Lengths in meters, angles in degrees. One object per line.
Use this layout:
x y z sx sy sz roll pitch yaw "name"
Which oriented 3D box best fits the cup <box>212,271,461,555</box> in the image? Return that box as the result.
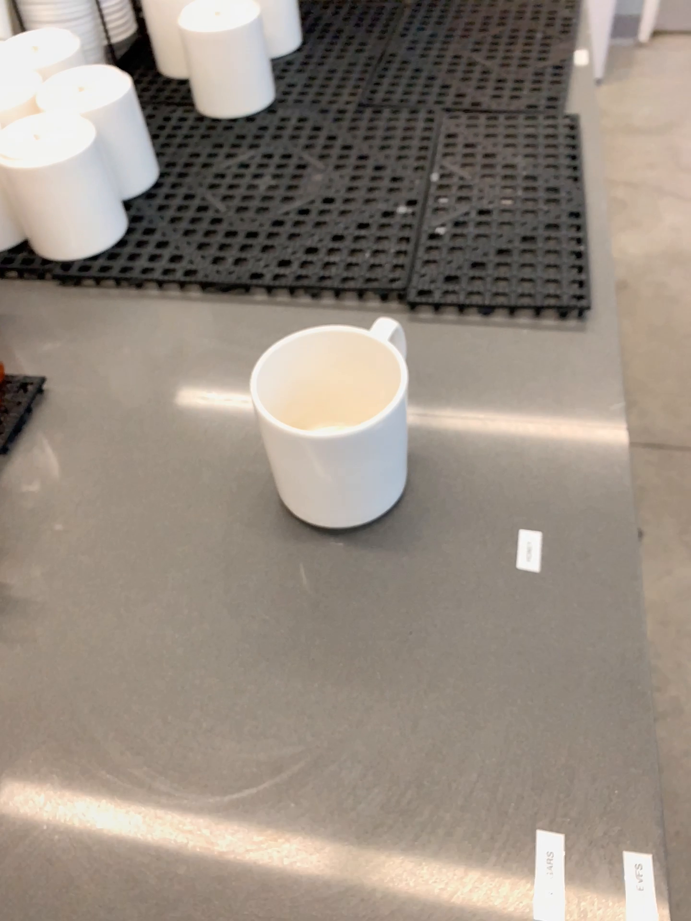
0.001 -0.031 0.427 0.090 0.090 0.120 20 55 21 "cup"
